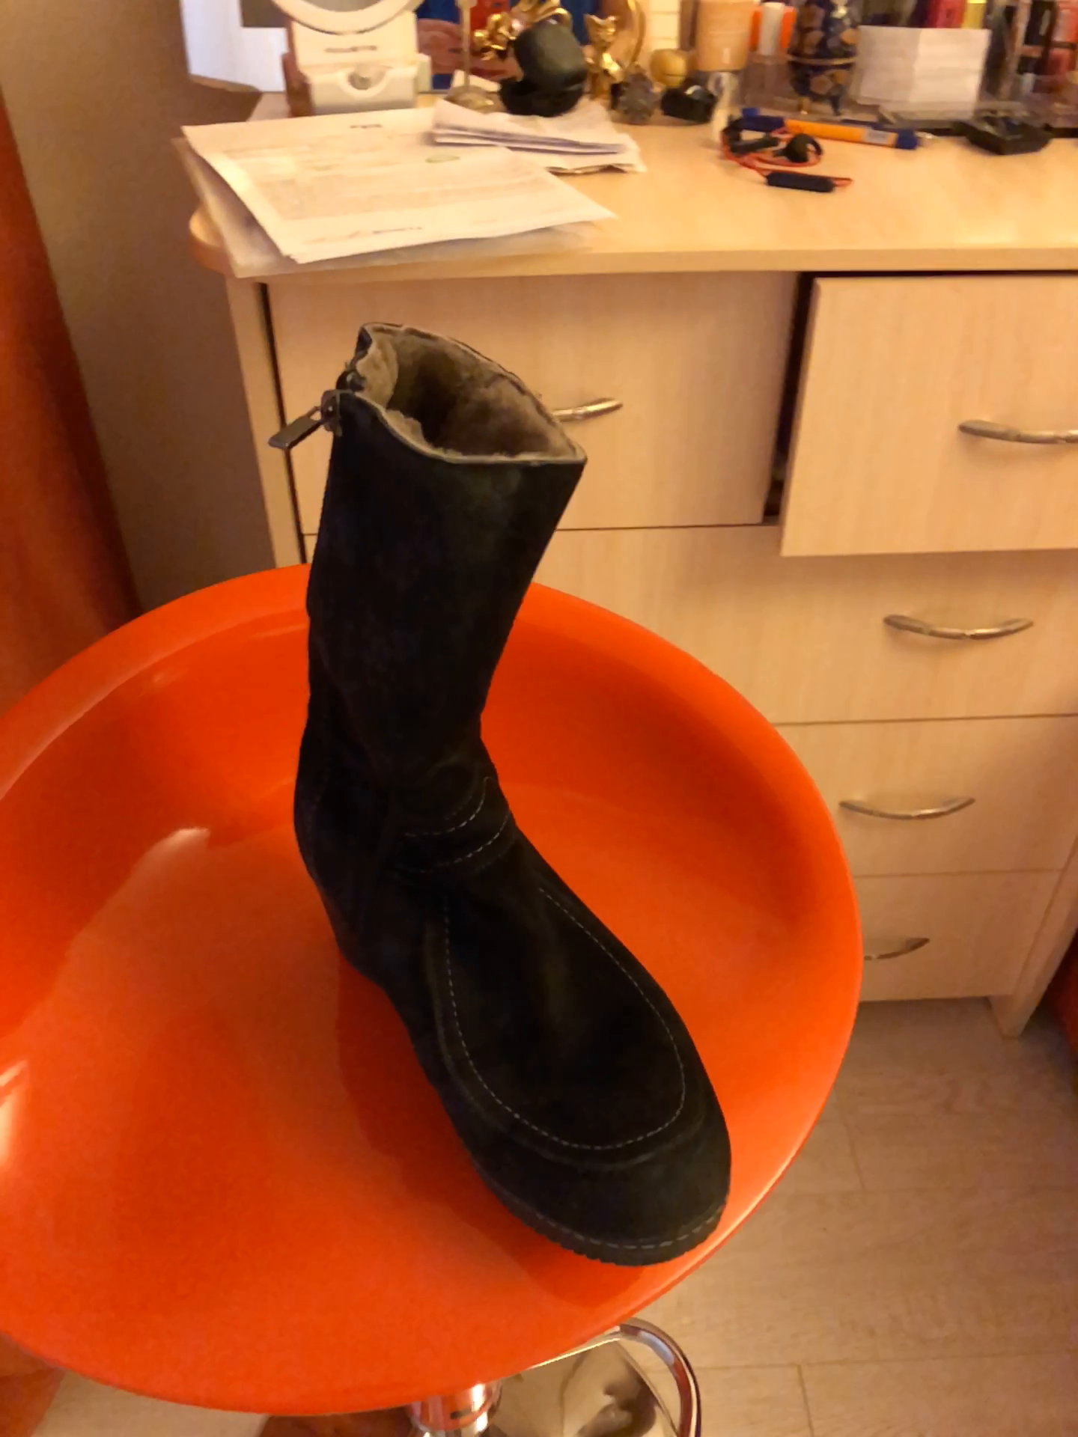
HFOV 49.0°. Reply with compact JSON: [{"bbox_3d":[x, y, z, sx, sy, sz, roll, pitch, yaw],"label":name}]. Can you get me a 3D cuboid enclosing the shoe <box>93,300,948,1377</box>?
[{"bbox_3d":[-0.025,0.029,0.404,0.100,0.248,0.261,-26,45,-28],"label":"shoe"}]
